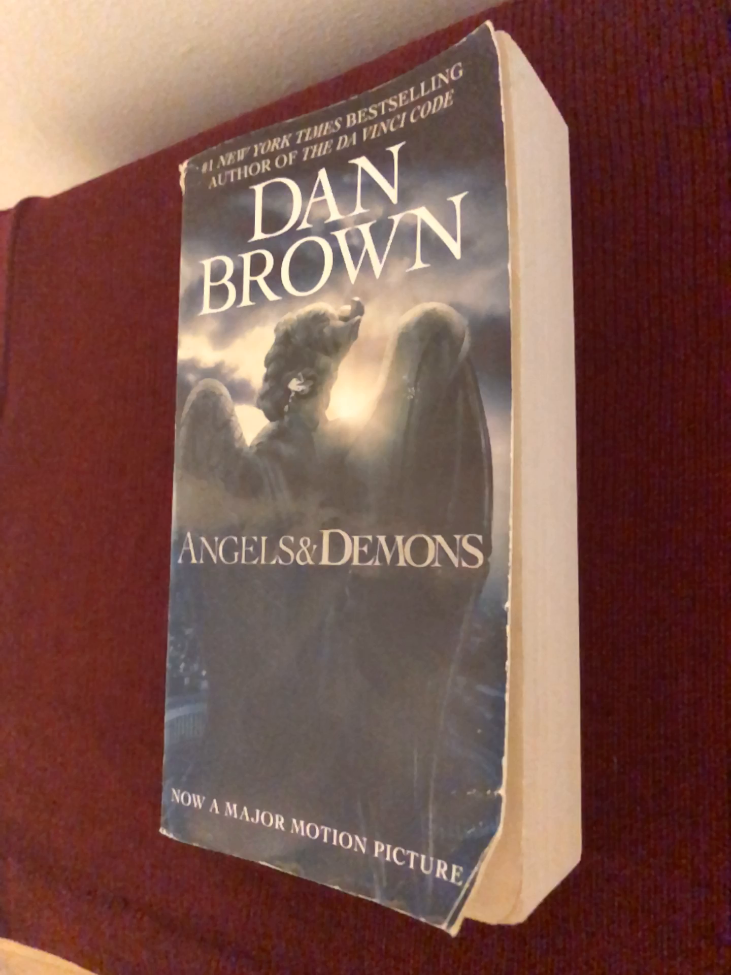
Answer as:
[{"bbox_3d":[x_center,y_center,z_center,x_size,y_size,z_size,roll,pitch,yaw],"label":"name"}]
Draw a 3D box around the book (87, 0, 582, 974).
[{"bbox_3d":[-0.012,-0.007,0.208,0.120,0.040,0.210,-4,81,37],"label":"book"}]
